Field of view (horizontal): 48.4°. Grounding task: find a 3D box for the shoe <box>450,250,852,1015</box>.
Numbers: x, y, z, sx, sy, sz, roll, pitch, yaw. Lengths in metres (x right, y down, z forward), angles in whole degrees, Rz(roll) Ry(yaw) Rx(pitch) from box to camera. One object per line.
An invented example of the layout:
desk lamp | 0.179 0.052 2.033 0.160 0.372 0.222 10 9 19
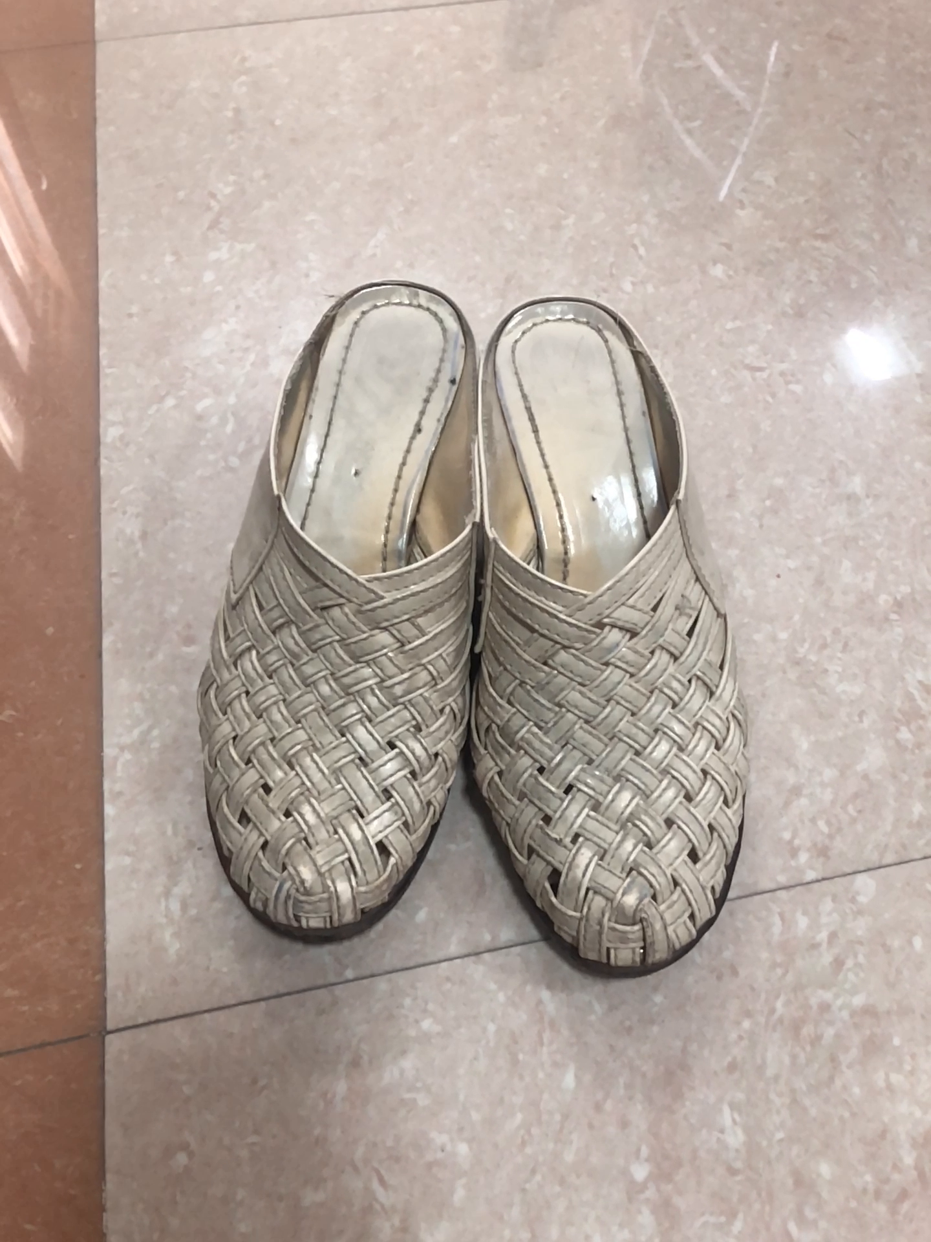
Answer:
shoe | 0.046 -0.005 0.344 0.090 0.080 0.240 -4 59 3

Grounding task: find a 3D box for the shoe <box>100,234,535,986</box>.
shoe | -0.032 -0.015 0.348 0.090 0.080 0.240 4 60 5
